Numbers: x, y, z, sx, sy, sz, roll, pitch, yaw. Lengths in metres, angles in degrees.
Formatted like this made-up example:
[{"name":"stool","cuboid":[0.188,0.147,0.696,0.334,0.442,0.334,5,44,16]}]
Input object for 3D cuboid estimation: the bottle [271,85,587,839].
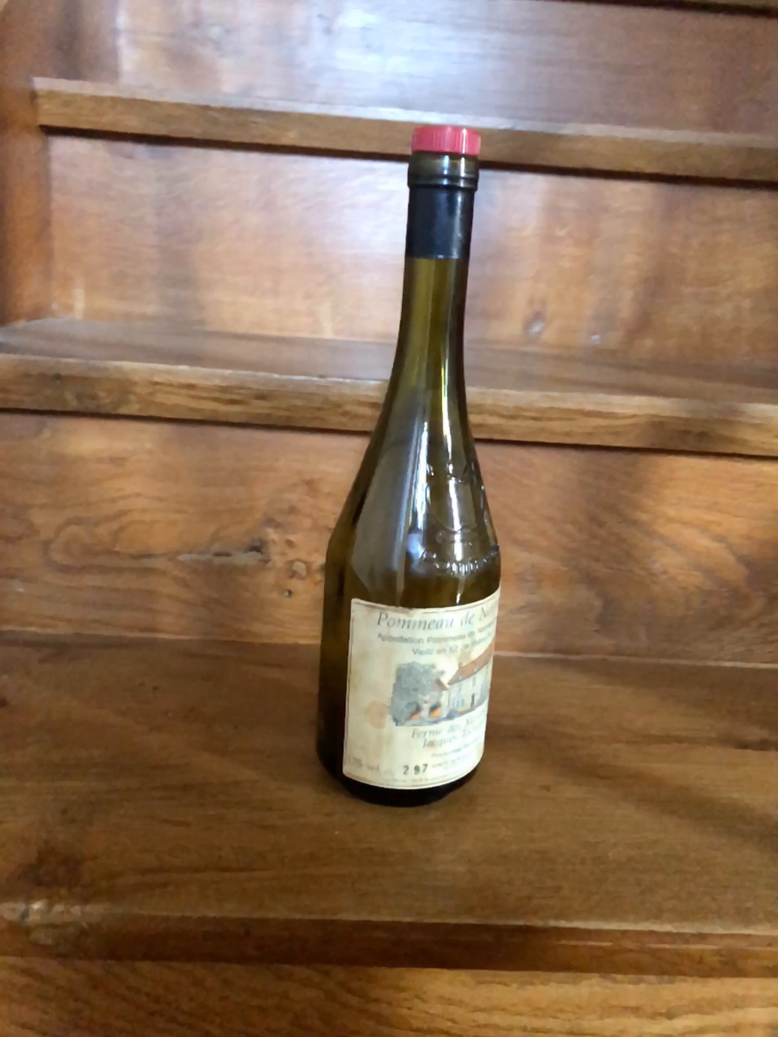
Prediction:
[{"name":"bottle","cuboid":[0.009,-0.021,0.405,0.090,0.309,0.090,4,15,-1]}]
